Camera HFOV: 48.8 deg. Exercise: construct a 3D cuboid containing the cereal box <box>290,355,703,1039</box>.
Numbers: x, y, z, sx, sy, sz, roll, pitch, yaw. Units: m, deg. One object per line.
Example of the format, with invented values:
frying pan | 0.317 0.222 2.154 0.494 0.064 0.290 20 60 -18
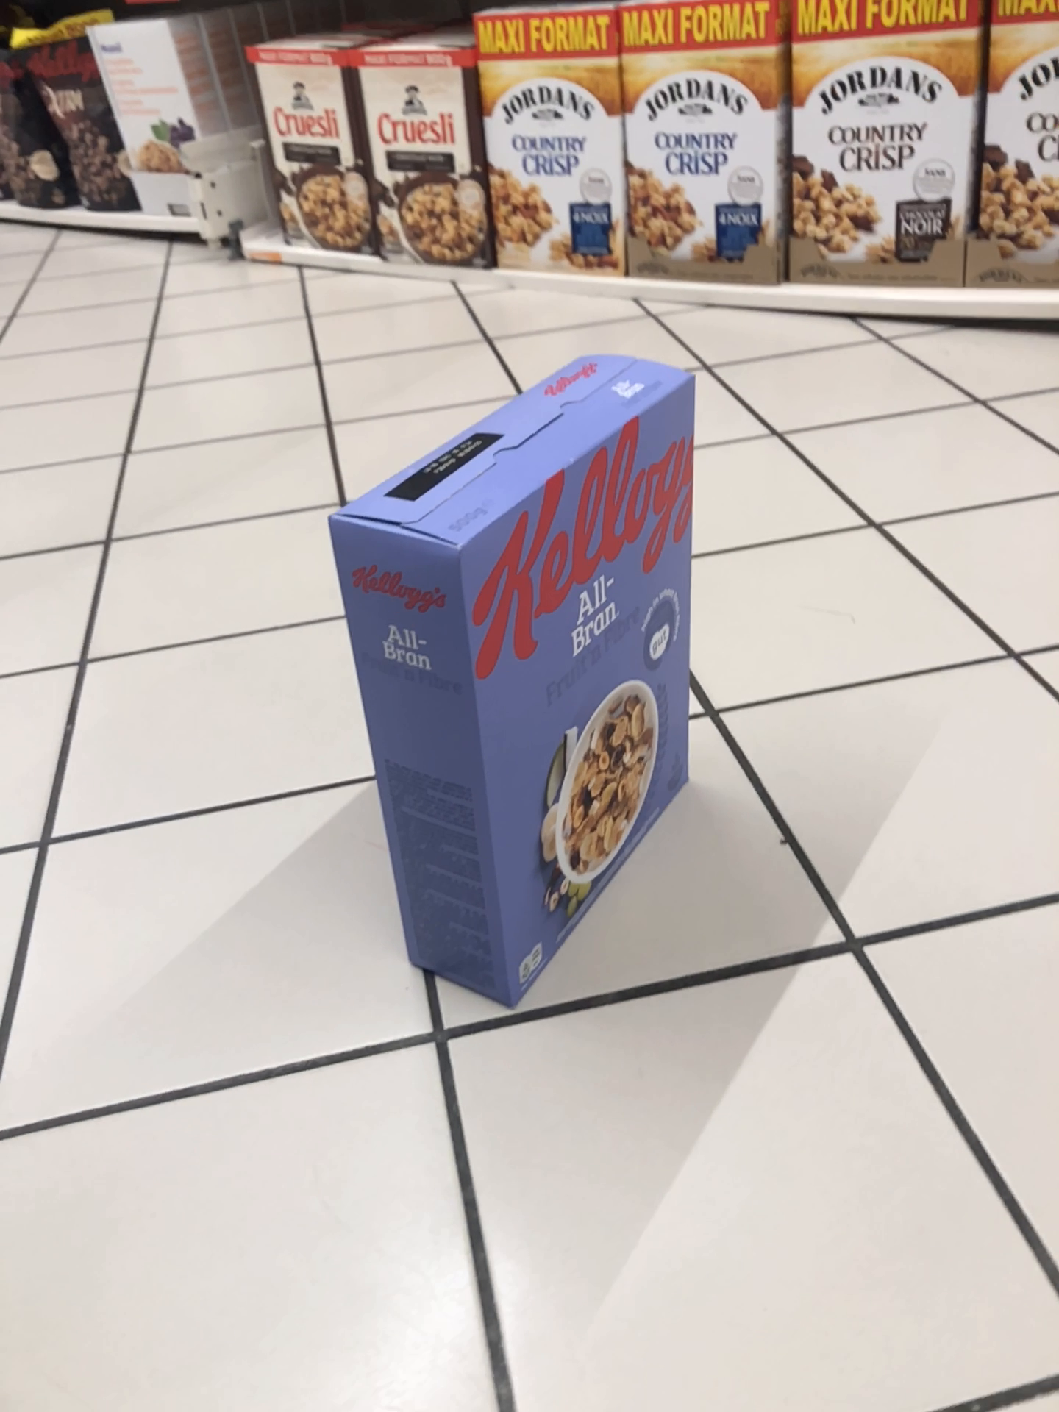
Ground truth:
cereal box | 0.005 -0.010 0.540 0.070 0.239 0.201 16 39 28
